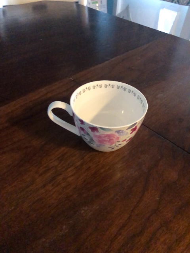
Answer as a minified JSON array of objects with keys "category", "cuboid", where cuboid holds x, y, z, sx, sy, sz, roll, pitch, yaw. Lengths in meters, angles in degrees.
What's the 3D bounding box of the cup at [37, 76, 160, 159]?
[{"category":"cup","cuboid":[0.001,-0.019,0.342,0.160,0.070,0.120,0,43,-4]}]
